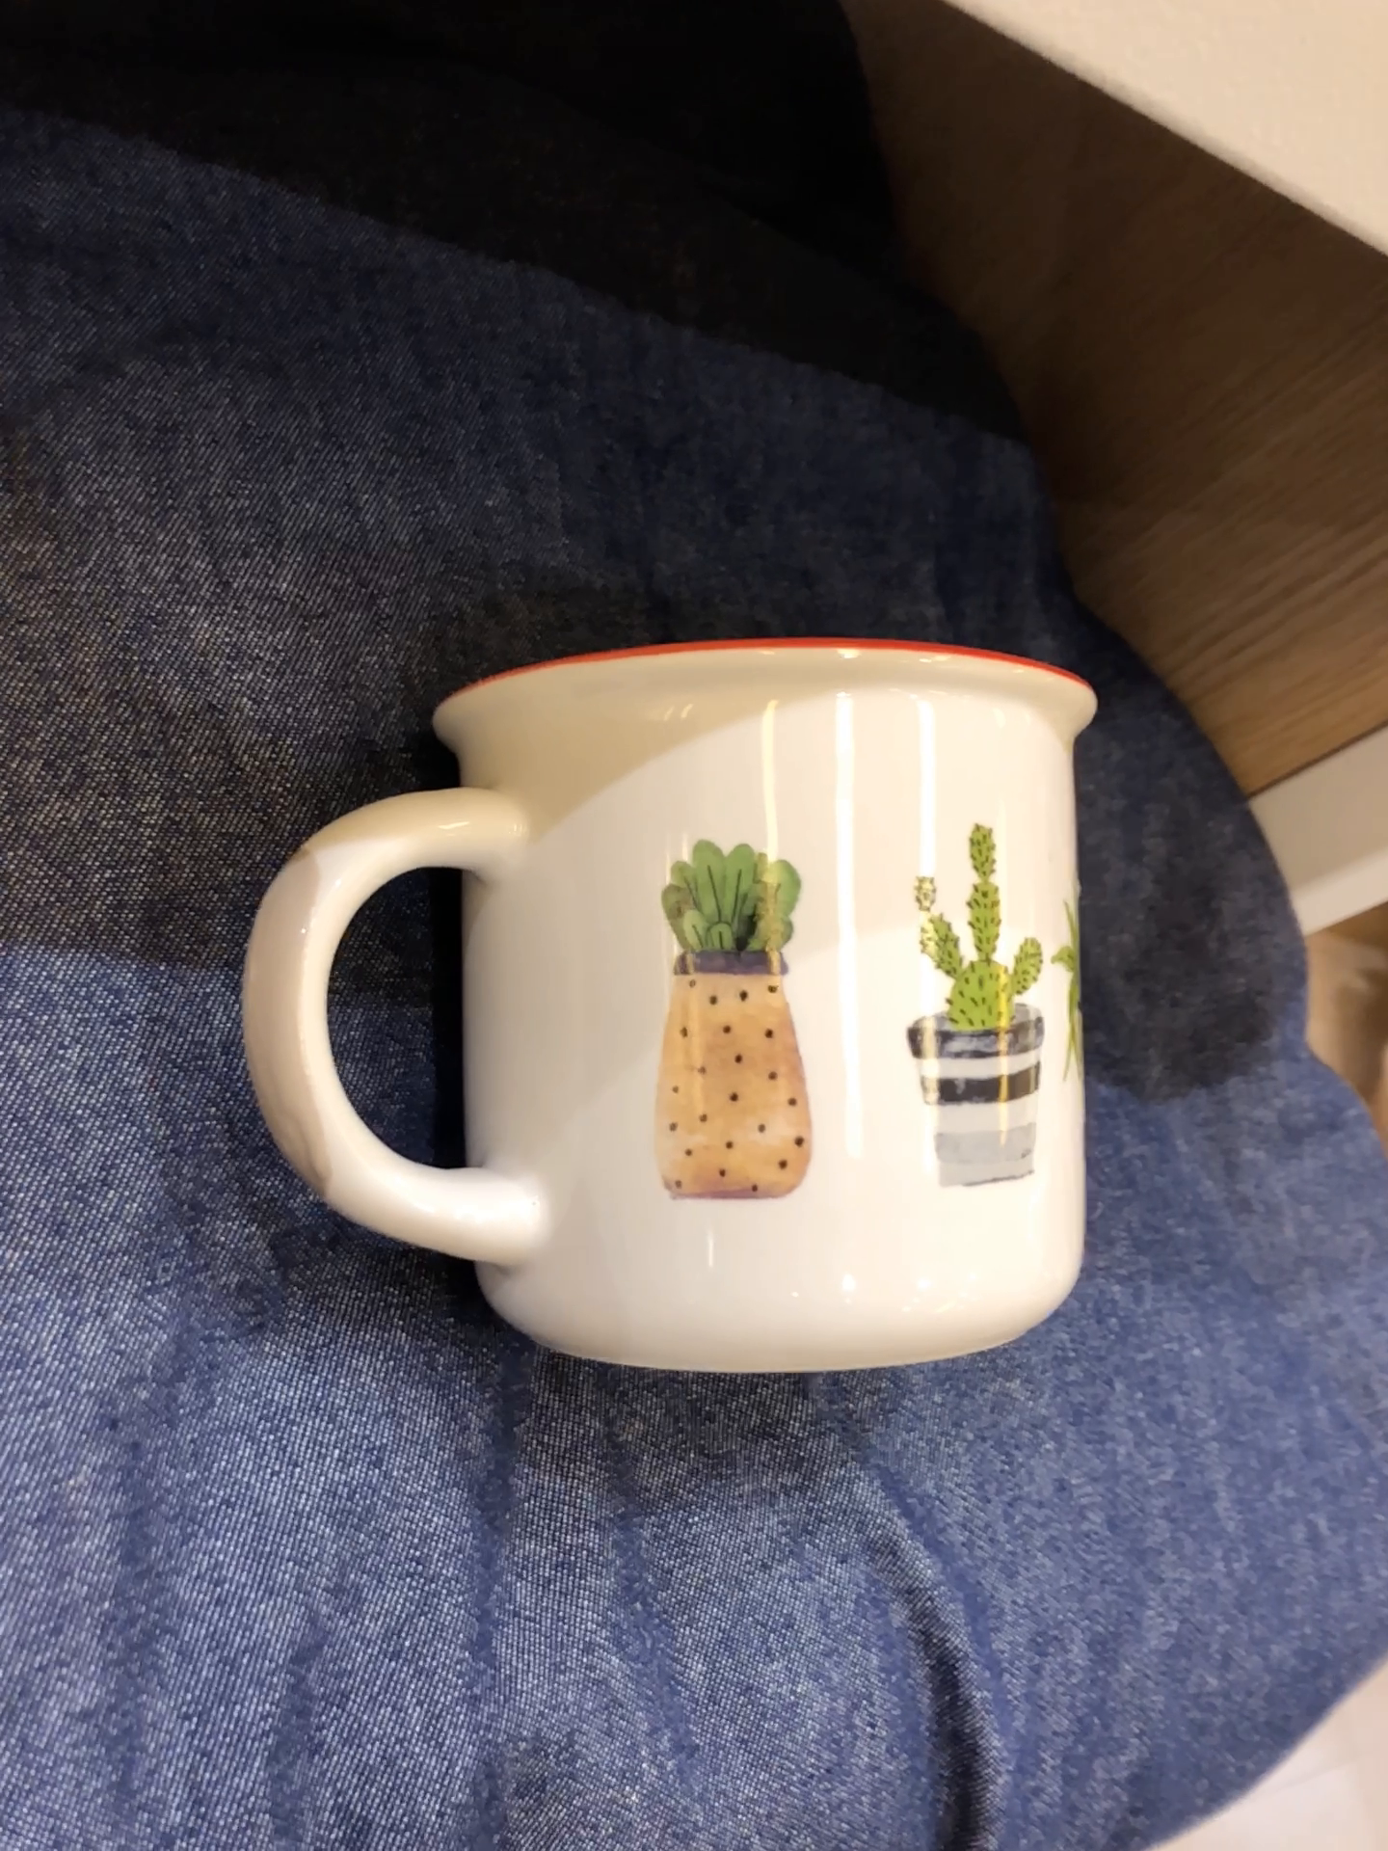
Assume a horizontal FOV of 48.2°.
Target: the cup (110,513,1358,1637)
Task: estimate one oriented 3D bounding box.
[{"bbox_3d":[0.006,0.018,0.216,0.141,0.089,0.100,1,81,-37],"label":"cup"}]
